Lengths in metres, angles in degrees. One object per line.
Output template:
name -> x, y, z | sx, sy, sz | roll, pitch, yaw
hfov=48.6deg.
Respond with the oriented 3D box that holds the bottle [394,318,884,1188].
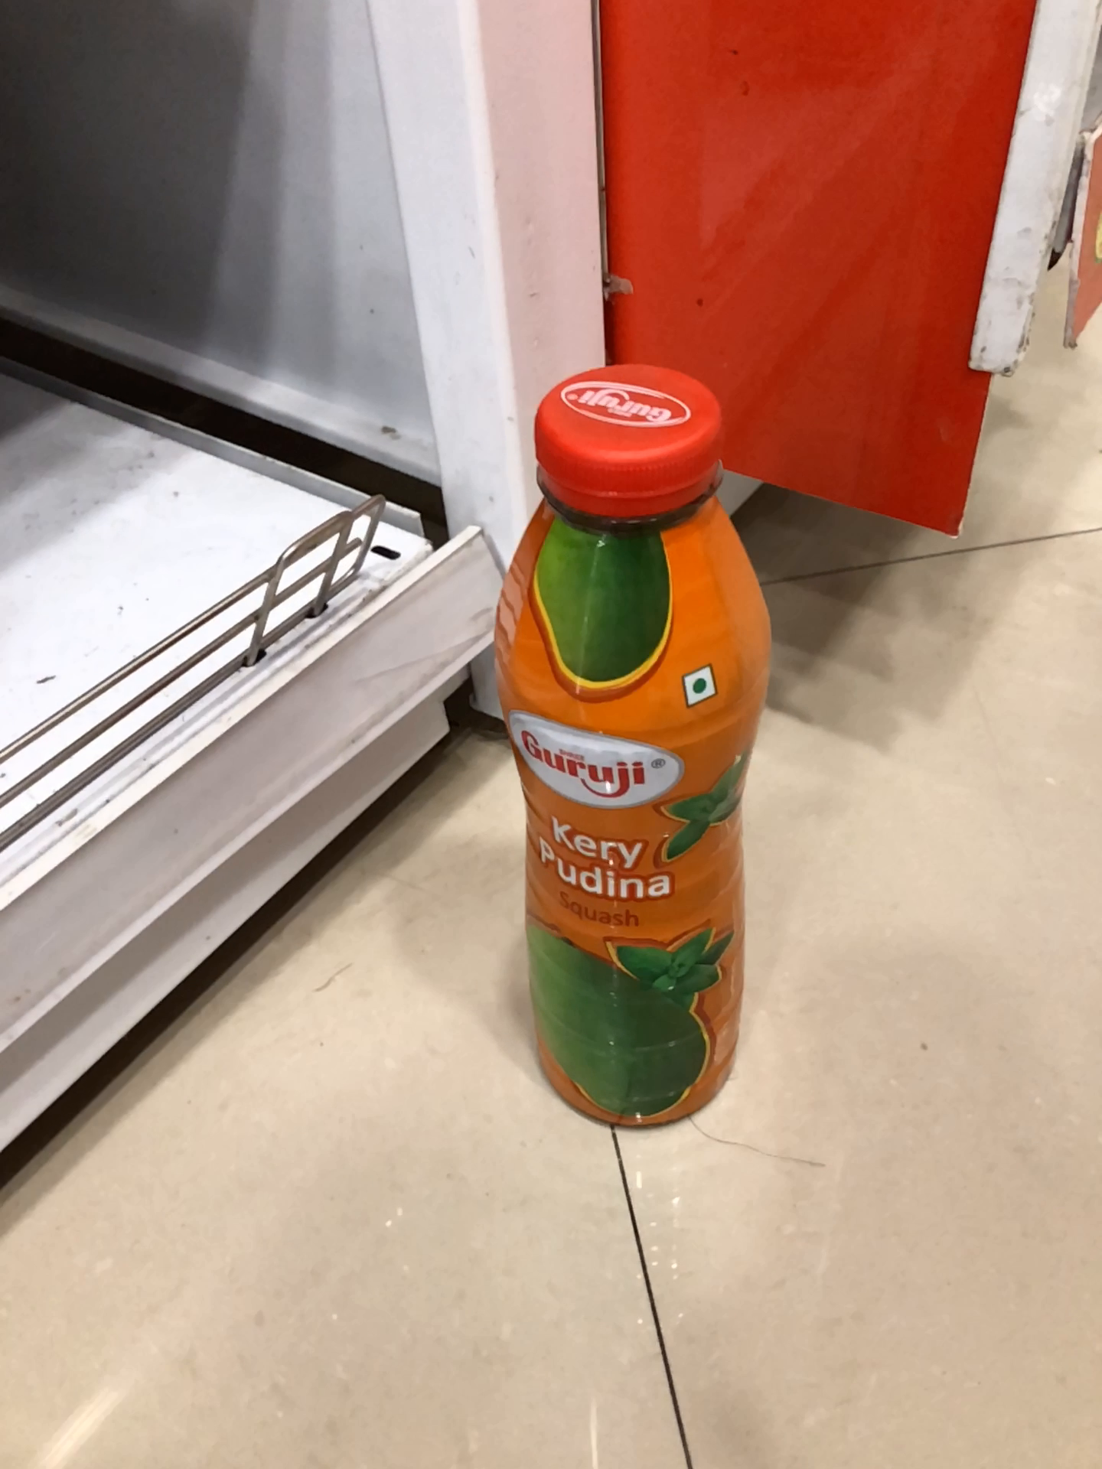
bottle -> 0.029, 0.021, 0.337 | 0.080, 0.238, 0.081 | -3, 44, 3
